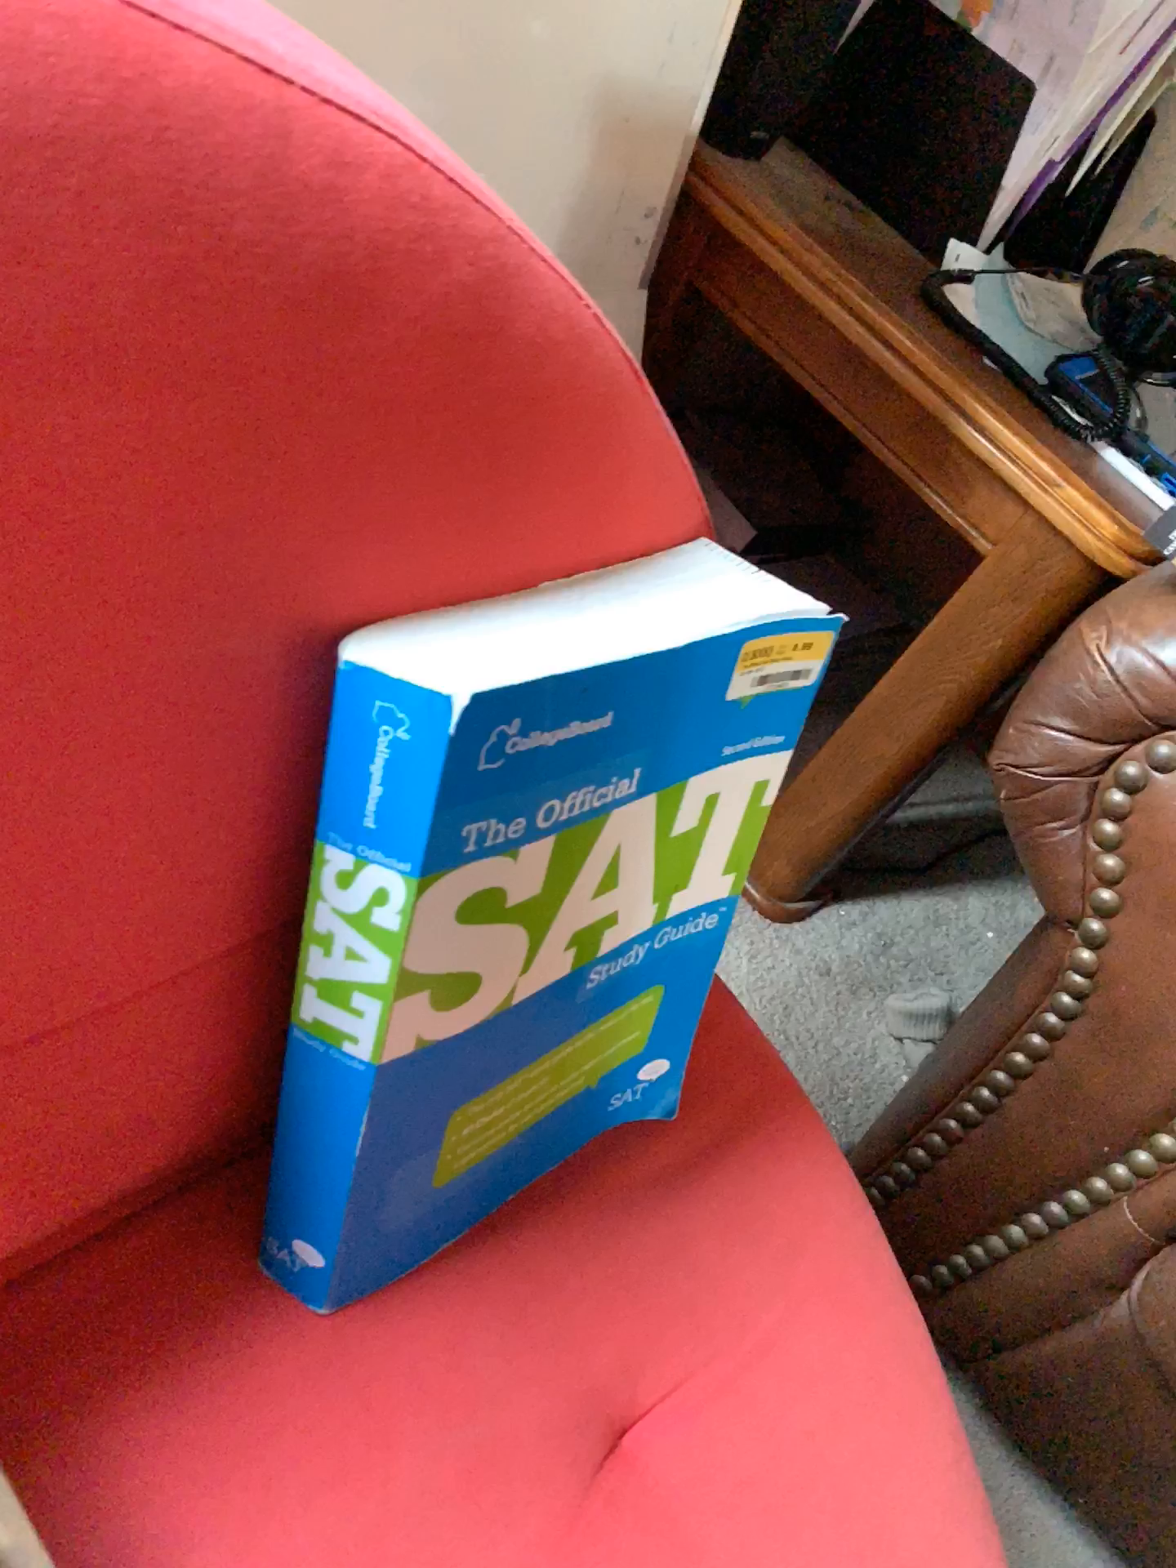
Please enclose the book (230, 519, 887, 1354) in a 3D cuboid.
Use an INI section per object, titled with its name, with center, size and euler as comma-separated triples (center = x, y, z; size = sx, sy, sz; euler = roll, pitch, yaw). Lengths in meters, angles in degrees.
[book]
center = -0.012, 0.044, 0.467
size = 0.231, 0.259, 0.080
euler = -18, 37, -43
